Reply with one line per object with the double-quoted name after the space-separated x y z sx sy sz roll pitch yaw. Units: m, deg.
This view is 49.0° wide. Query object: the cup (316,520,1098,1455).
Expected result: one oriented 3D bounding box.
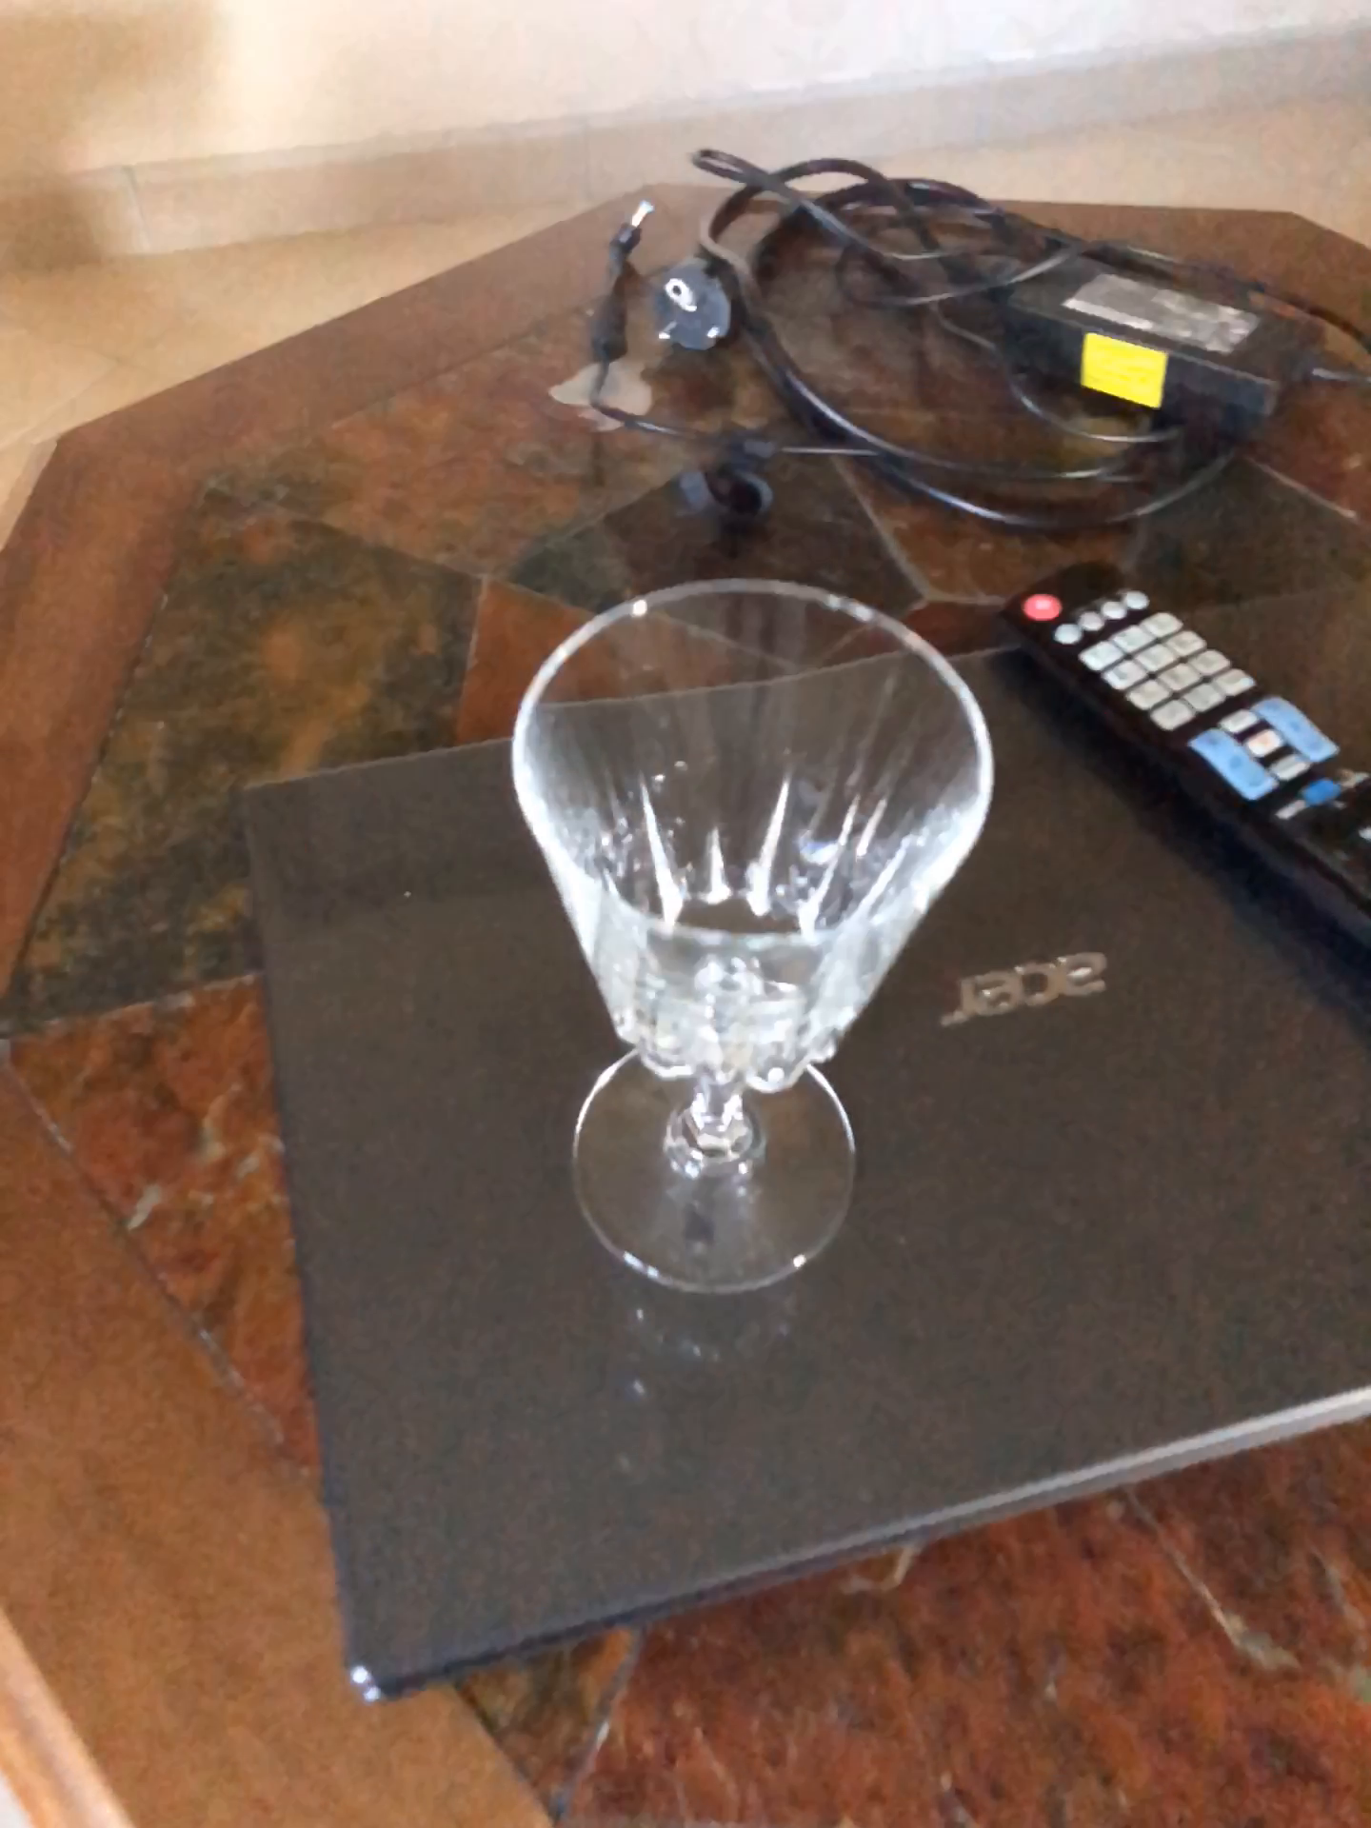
0.005 0.023 0.331 0.100 0.159 0.100 0 53 -1 "cup"
